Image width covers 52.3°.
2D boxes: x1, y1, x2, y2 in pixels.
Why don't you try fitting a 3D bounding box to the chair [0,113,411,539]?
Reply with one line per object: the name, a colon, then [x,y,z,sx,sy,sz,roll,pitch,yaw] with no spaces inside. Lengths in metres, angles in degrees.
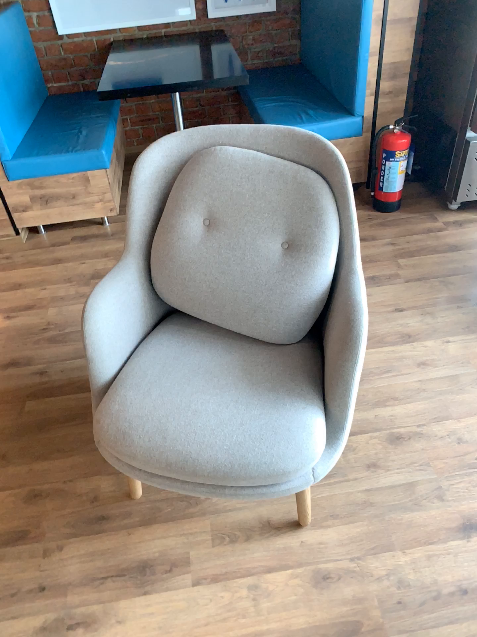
chair: [-0.034,0.003,1.331,0.750,0.832,0.746,1,40,8]
